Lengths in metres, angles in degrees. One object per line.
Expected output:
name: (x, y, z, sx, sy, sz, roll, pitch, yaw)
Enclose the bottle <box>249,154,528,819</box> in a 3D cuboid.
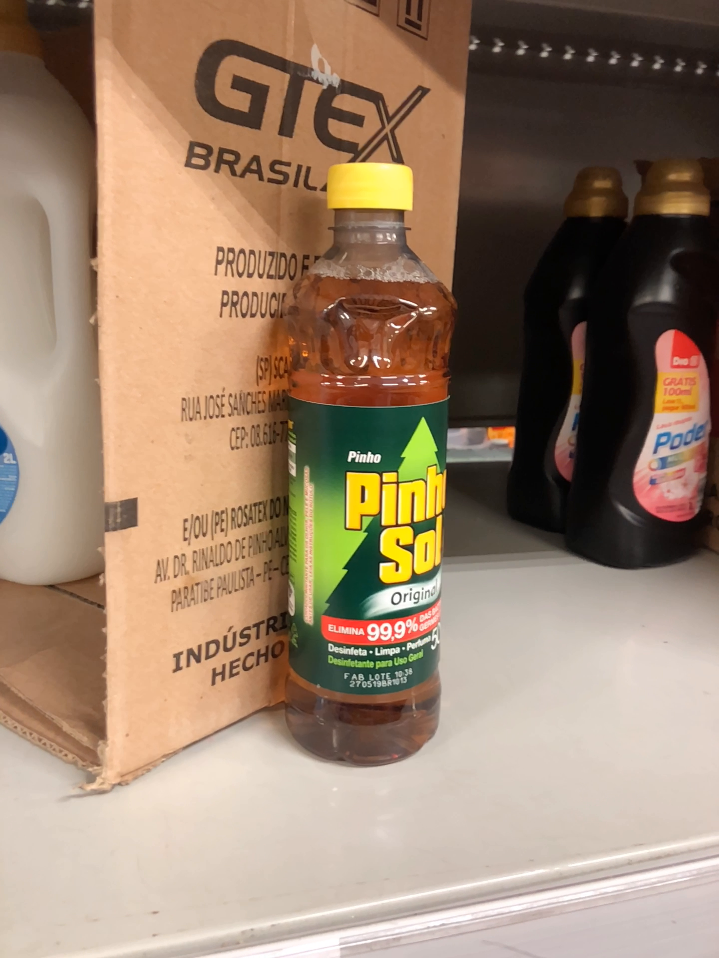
bottle: (0.007, 0.002, 0.299, 0.070, 0.219, 0.060, -11, 20, -44)
